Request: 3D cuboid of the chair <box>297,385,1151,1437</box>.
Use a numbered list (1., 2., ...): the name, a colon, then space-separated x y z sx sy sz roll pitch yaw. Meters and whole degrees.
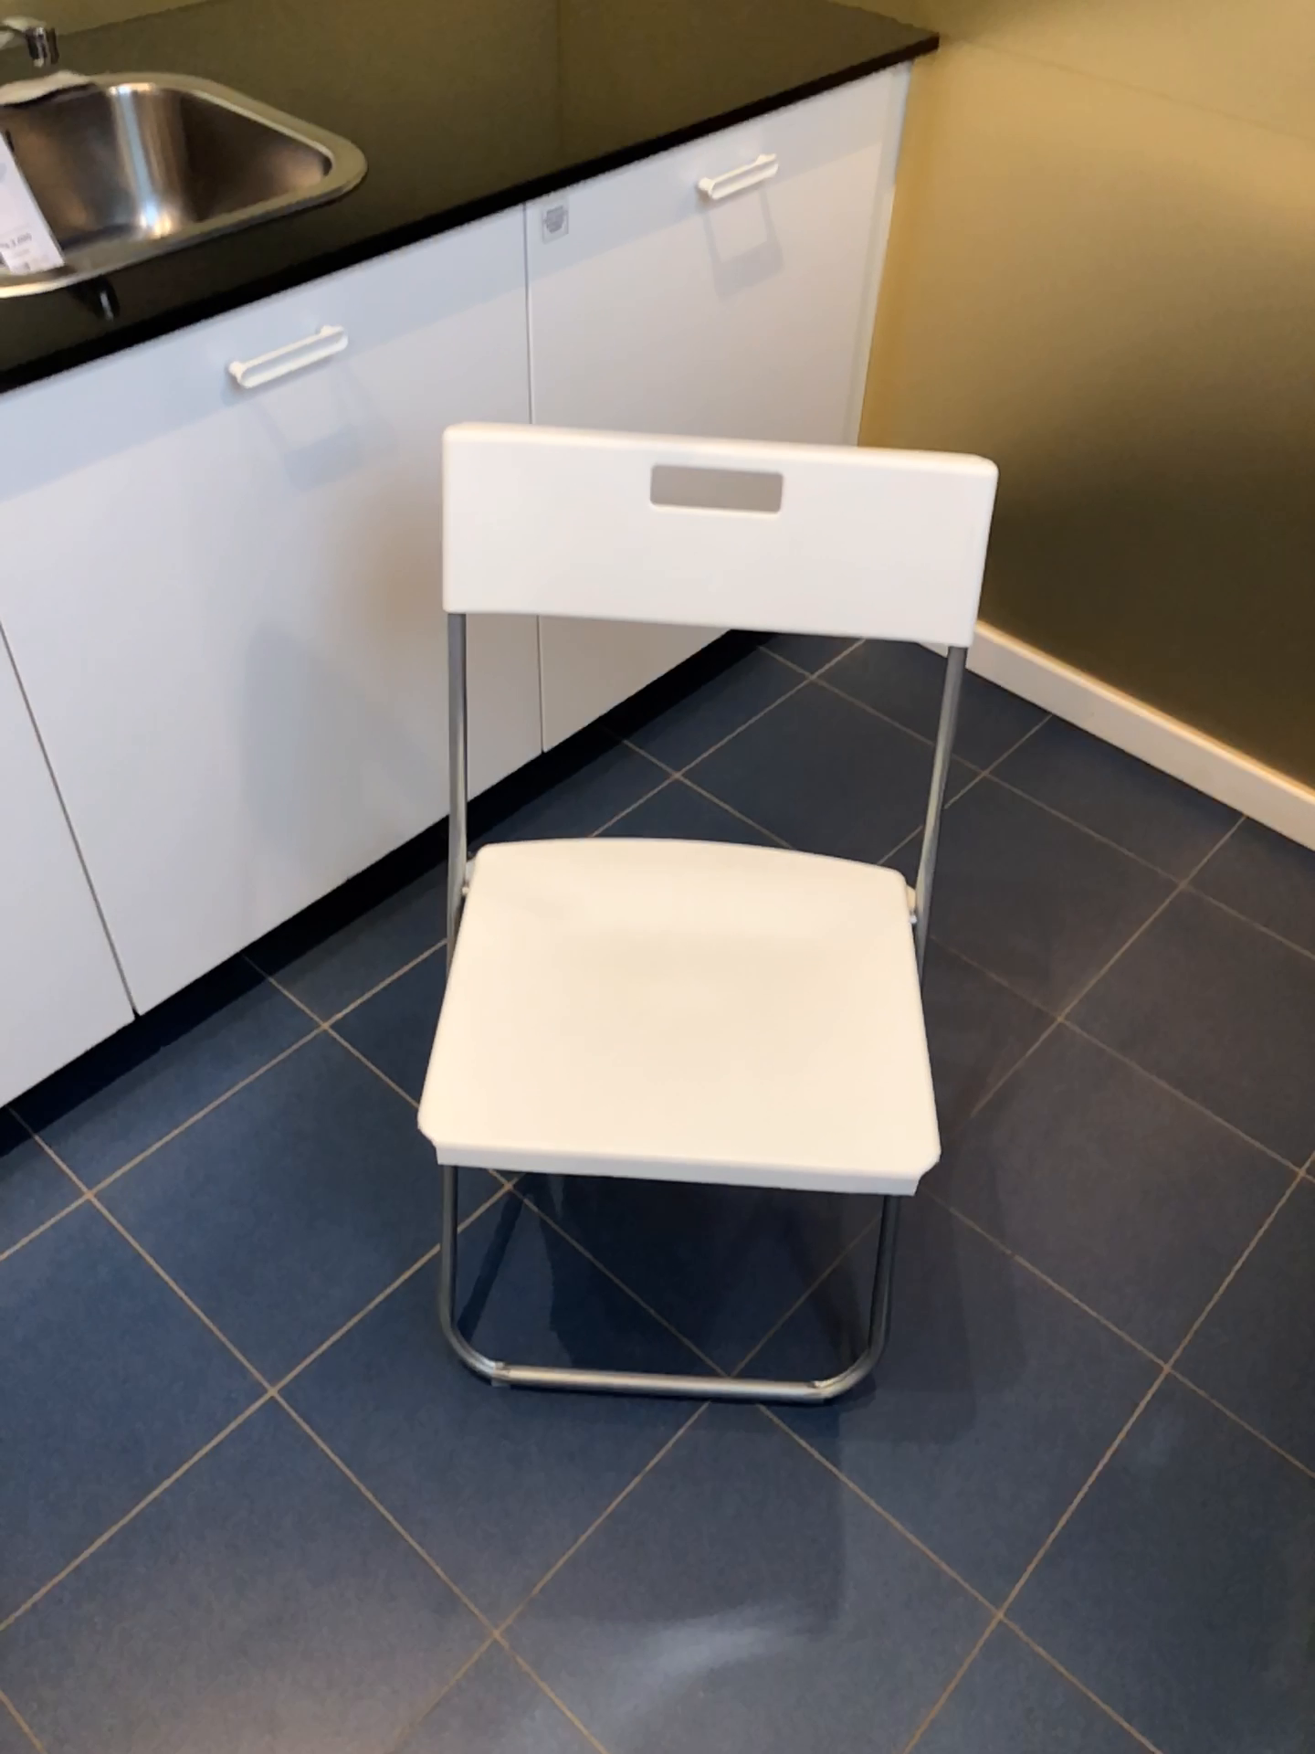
1. chair: 0.037 0.064 1.287 0.490 0.775 0.523 3 46 0
